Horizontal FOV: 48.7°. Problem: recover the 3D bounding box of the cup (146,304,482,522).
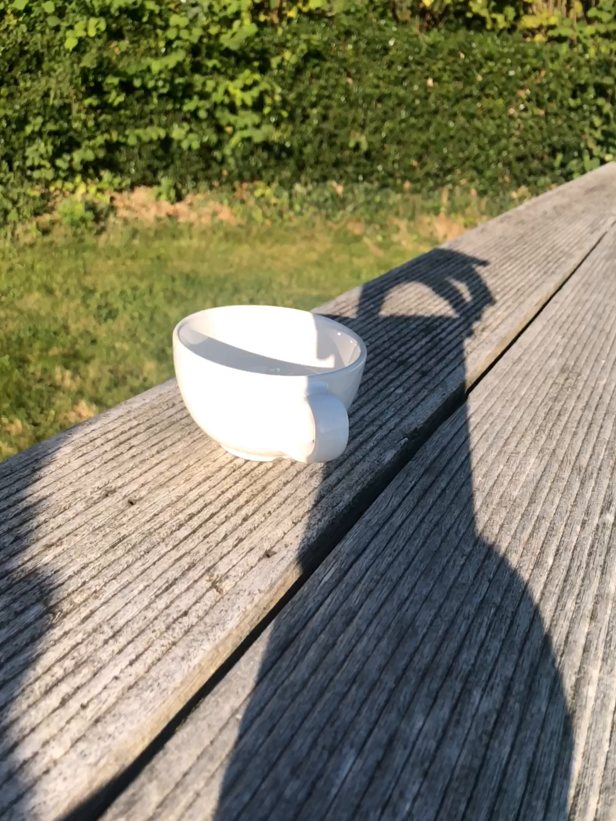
[{"bbox_3d":[-0.005,-0.009,0.306,0.105,0.038,0.121,-9,28,-26],"label":"cup"}]
